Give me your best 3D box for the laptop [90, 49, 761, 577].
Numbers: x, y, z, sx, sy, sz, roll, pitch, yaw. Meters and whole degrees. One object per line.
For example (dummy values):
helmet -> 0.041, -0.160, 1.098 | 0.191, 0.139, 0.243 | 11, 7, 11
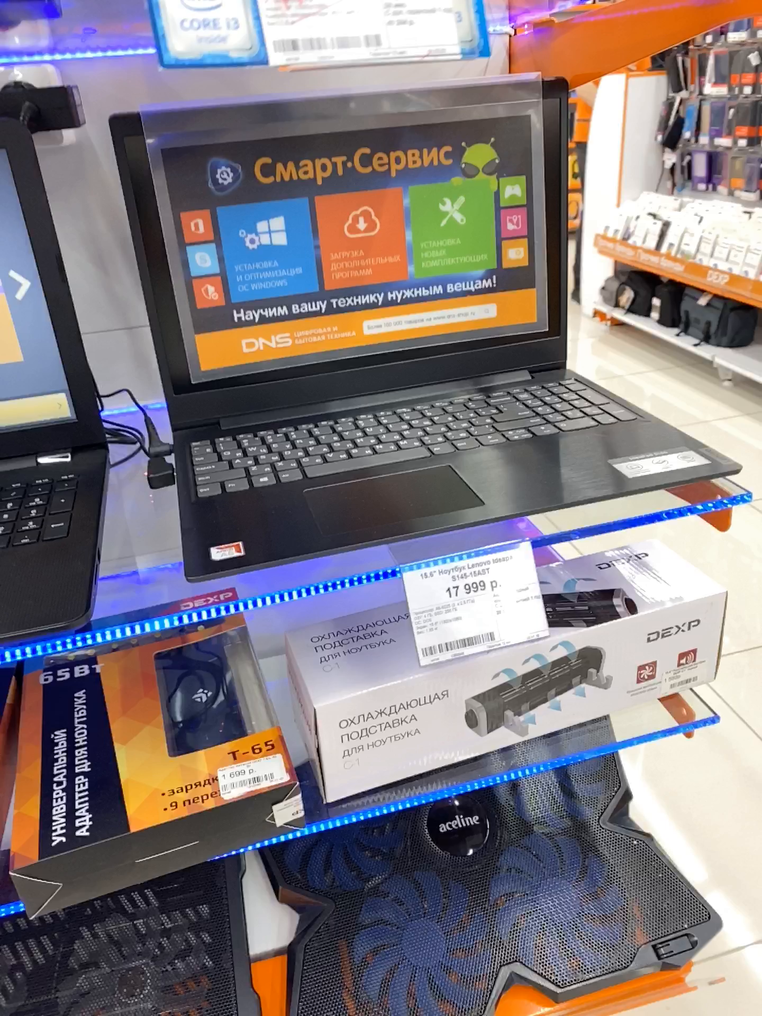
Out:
laptop -> 0.021, -0.155, 0.536 | 0.357, 0.236, 0.267 | -10, 27, -12
